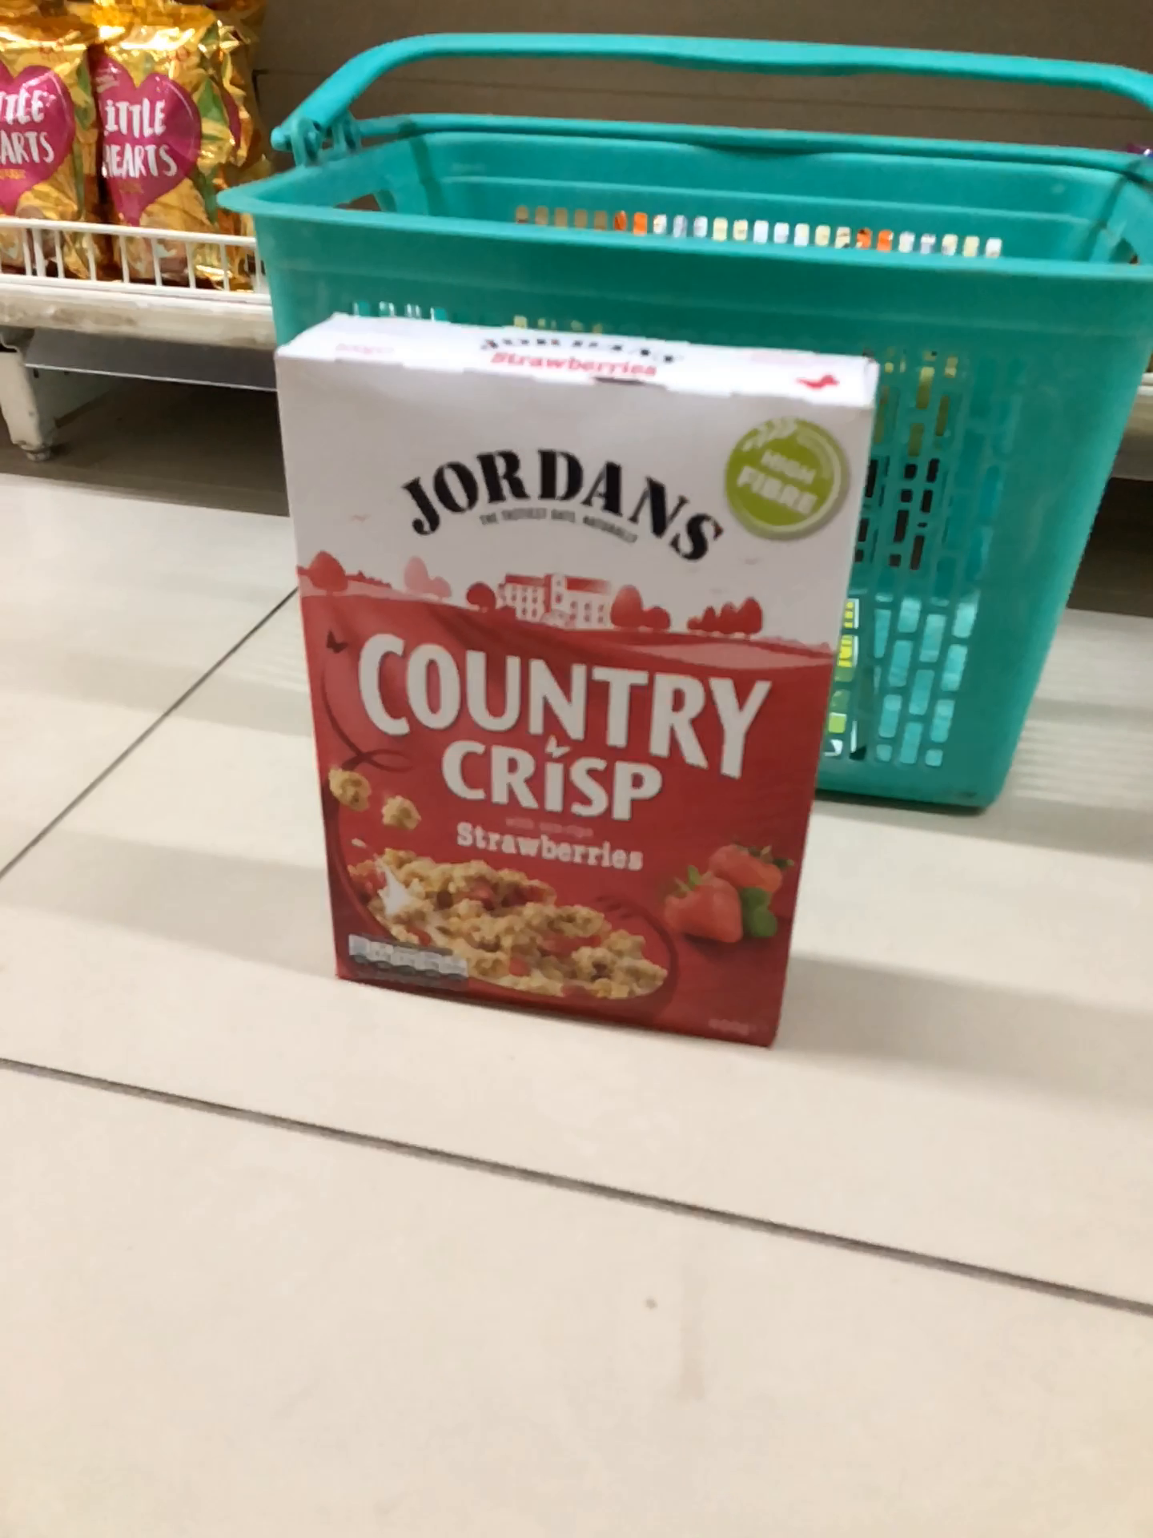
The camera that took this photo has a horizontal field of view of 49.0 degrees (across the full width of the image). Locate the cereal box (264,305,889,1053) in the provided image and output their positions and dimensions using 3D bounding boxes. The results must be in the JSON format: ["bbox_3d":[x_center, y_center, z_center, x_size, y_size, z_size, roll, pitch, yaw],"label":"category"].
[{"bbox_3d":[-0.001,-0.022,0.444,0.180,0.248,0.050,7,32,8],"label":"cereal box"}]
